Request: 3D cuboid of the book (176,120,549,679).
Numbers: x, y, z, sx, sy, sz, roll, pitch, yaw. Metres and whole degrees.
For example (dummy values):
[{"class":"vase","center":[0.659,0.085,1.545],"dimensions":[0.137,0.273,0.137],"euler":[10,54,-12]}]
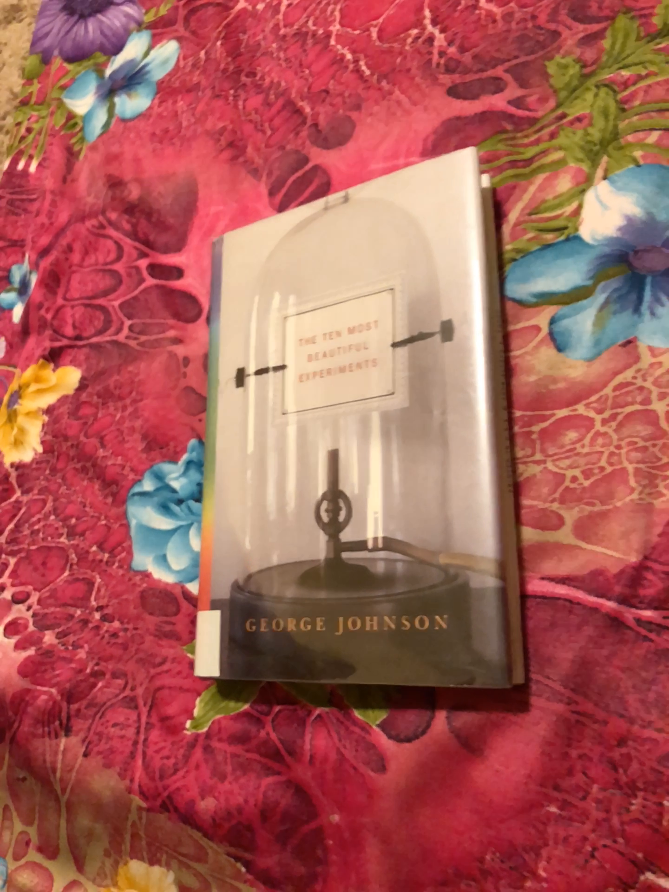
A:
[{"class":"book","center":[0.004,-0.012,0.301],"dimensions":[0.140,0.030,0.200],"euler":[-10,72,31]}]
